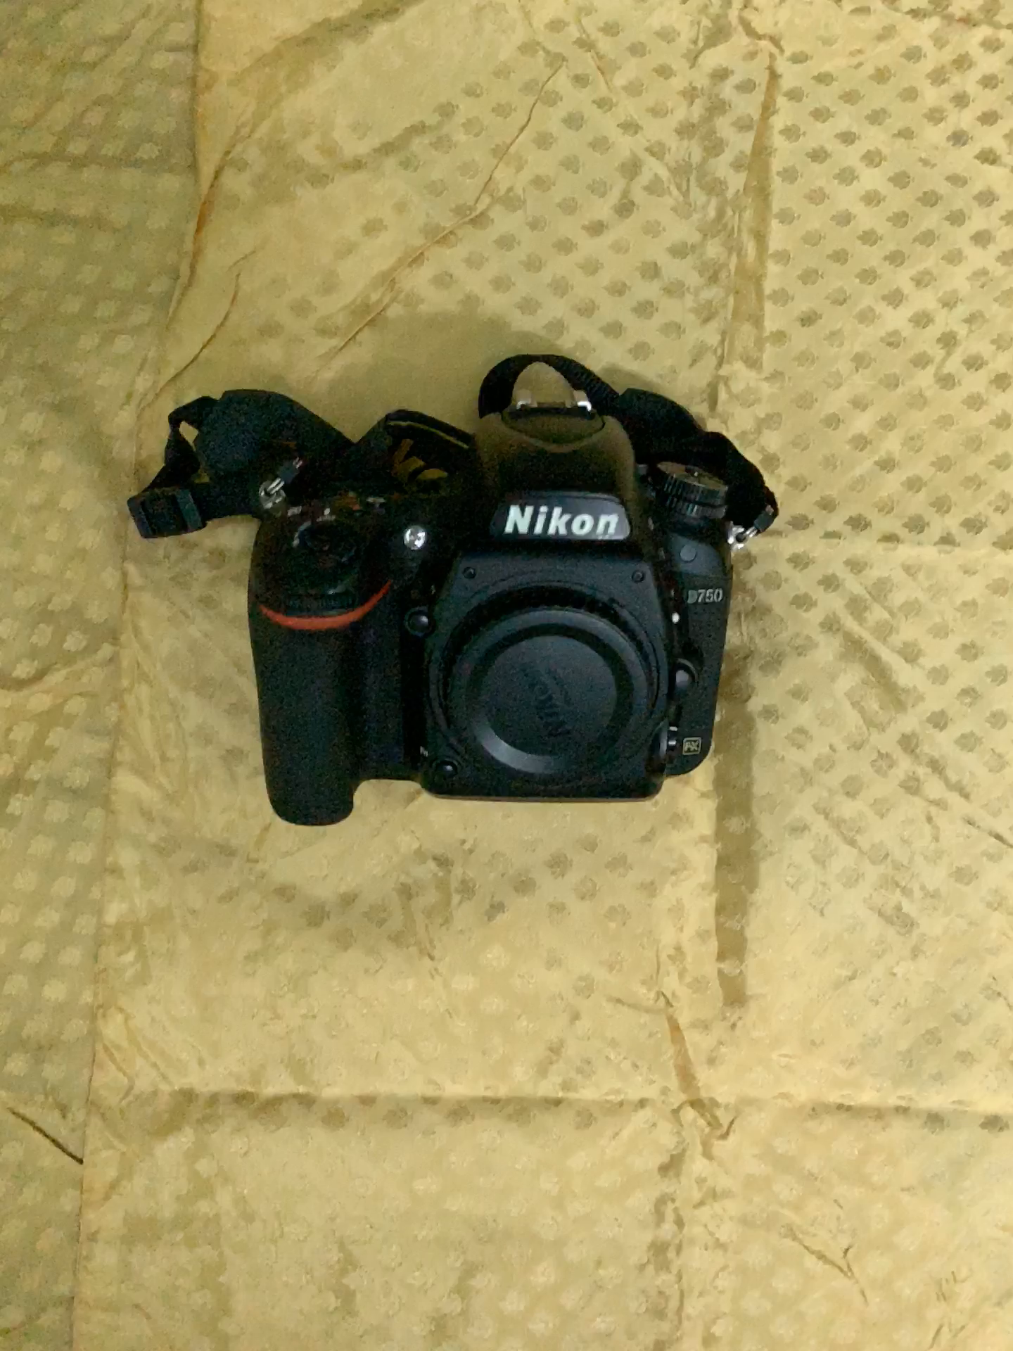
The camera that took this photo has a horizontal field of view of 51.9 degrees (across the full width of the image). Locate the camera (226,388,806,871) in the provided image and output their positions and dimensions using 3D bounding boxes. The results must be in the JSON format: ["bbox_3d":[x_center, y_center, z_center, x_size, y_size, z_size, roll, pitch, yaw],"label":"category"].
[{"bbox_3d":[0.000,-0.014,0.290,0.130,0.073,0.111,2,116,-2],"label":"camera"}]
